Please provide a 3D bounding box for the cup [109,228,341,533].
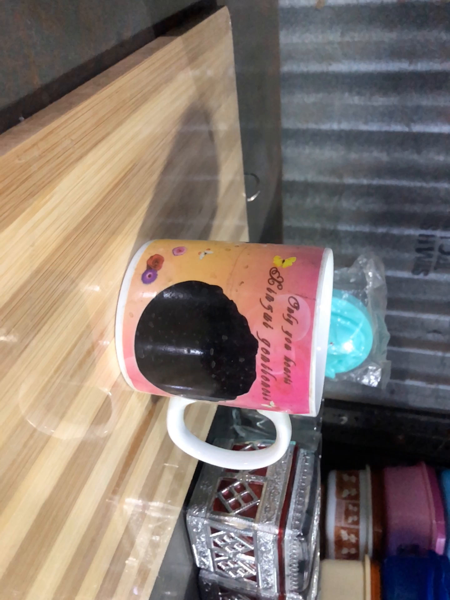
[{"bbox_3d":[0.006,0.029,0.255,0.090,0.090,0.120,-19,114,-75],"label":"cup"}]
